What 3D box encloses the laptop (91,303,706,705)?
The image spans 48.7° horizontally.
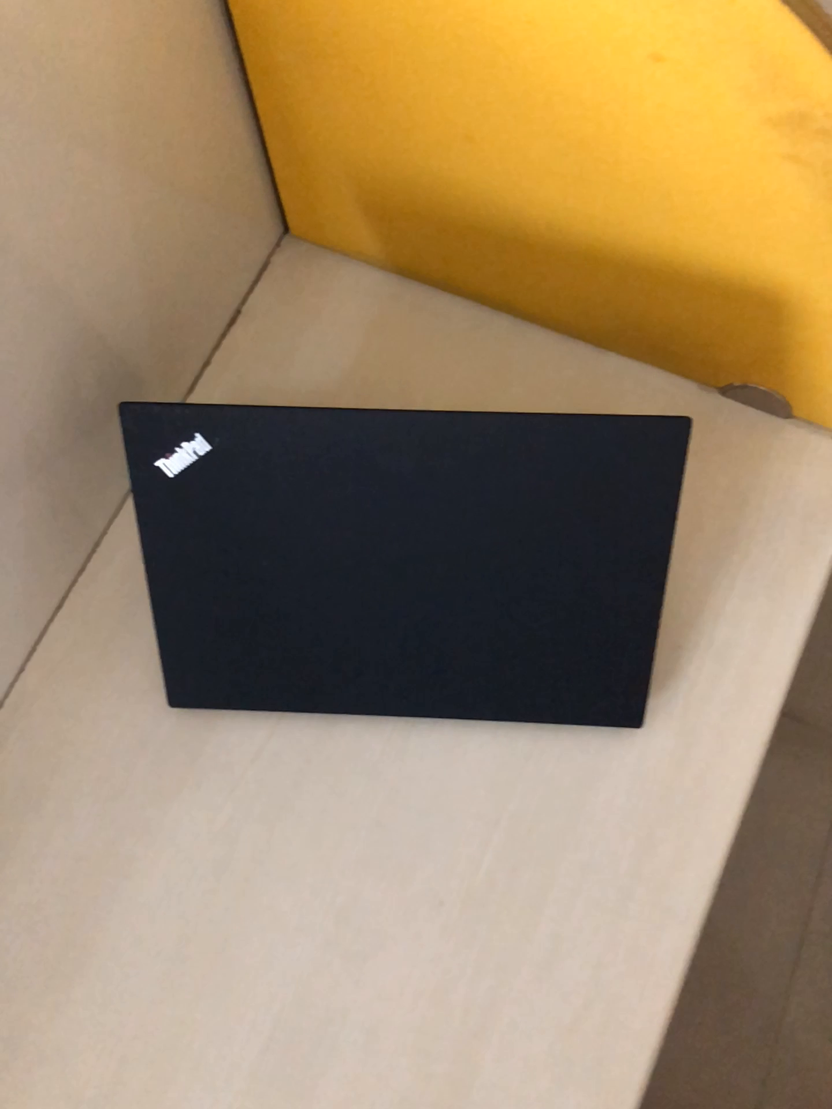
[{"bbox_3d":[-0.007,-0.032,0.647,0.349,0.166,0.240,1,68,4],"label":"laptop"}]
